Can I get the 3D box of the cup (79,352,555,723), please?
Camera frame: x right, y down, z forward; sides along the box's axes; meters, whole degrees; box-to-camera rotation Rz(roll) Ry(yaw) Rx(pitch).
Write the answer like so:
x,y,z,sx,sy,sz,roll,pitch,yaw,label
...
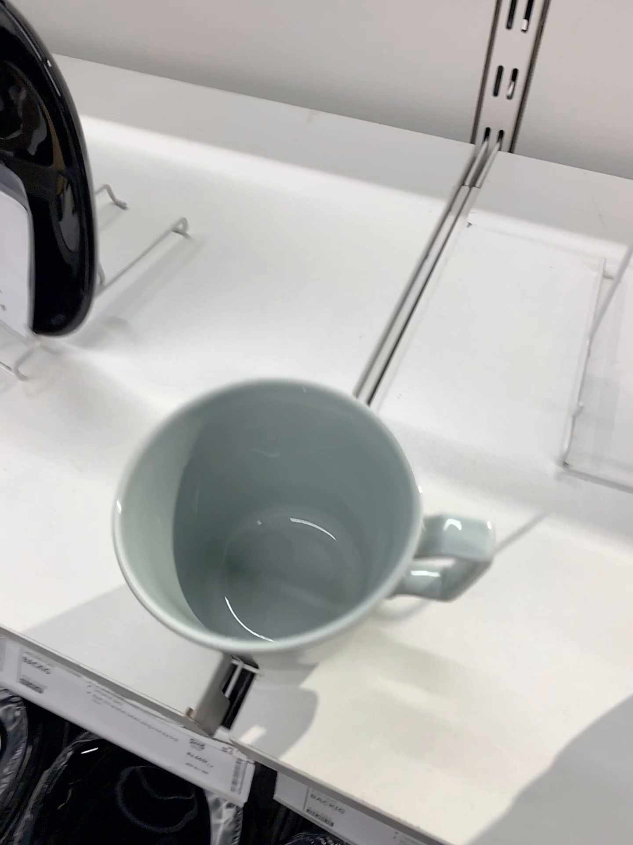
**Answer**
x,y,z,sx,sy,sz,roll,pitch,yaw,label
-0.003,0.041,0.234,0.130,0.070,0.100,-5,55,-2,cup
